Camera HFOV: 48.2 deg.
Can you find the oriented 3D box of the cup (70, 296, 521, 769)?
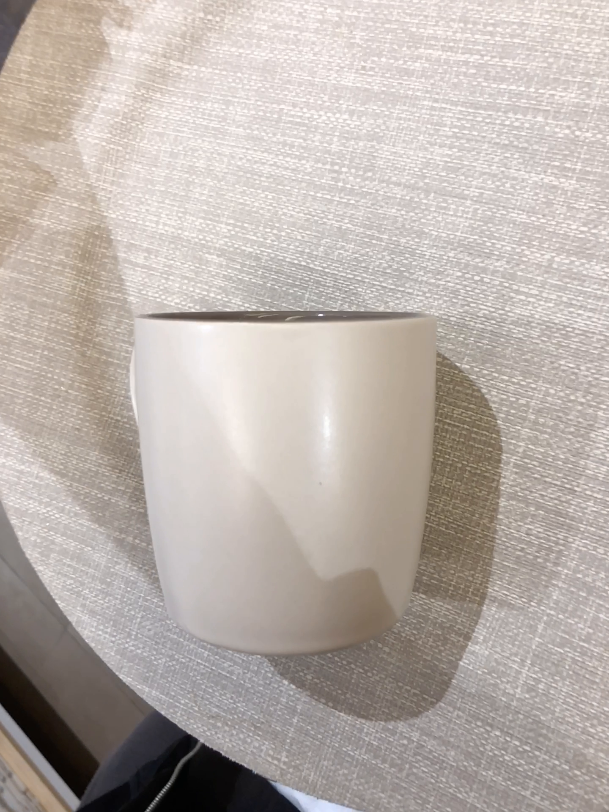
[{"bbox_3d":[-0.009,0.017,0.188,0.100,0.080,0.090,11,104,57],"label":"cup"}]
